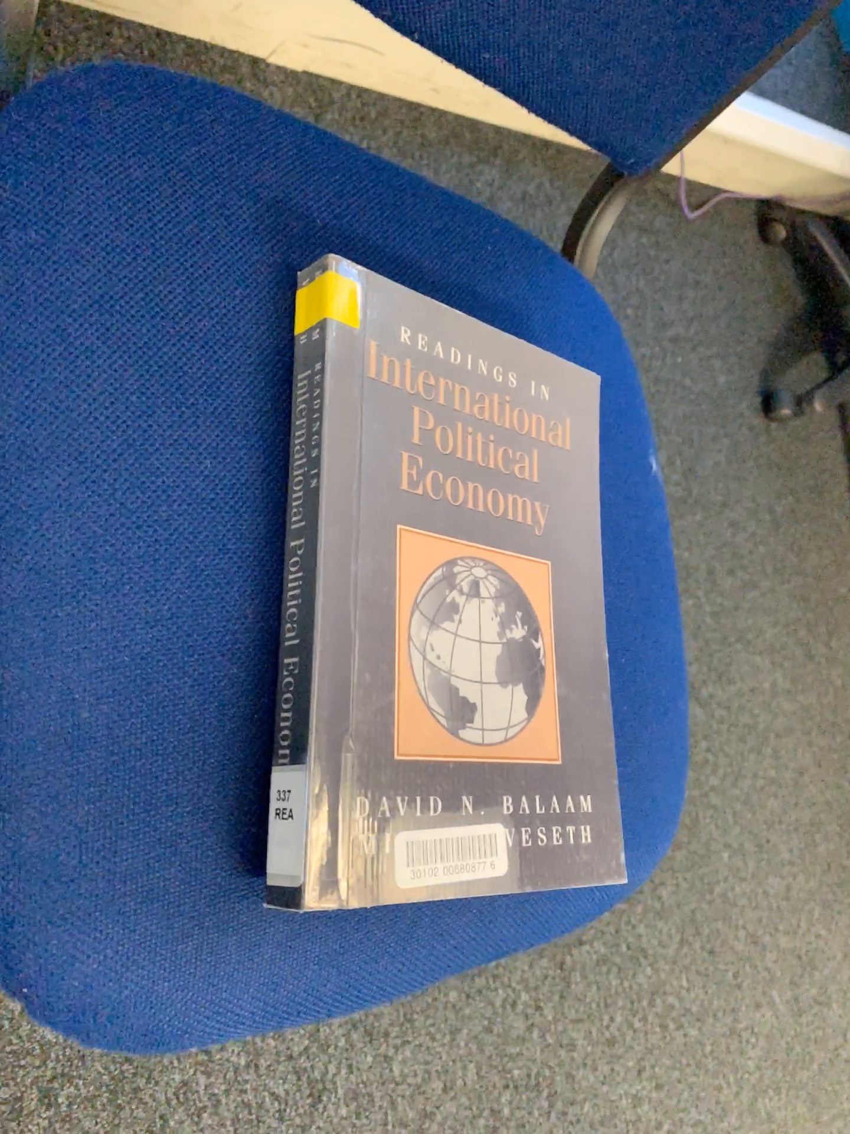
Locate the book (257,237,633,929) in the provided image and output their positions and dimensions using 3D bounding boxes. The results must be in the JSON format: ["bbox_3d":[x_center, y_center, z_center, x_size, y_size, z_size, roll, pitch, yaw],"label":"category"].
[{"bbox_3d":[0.015,0.009,0.331,0.151,0.030,0.220,12,71,-41],"label":"book"}]
